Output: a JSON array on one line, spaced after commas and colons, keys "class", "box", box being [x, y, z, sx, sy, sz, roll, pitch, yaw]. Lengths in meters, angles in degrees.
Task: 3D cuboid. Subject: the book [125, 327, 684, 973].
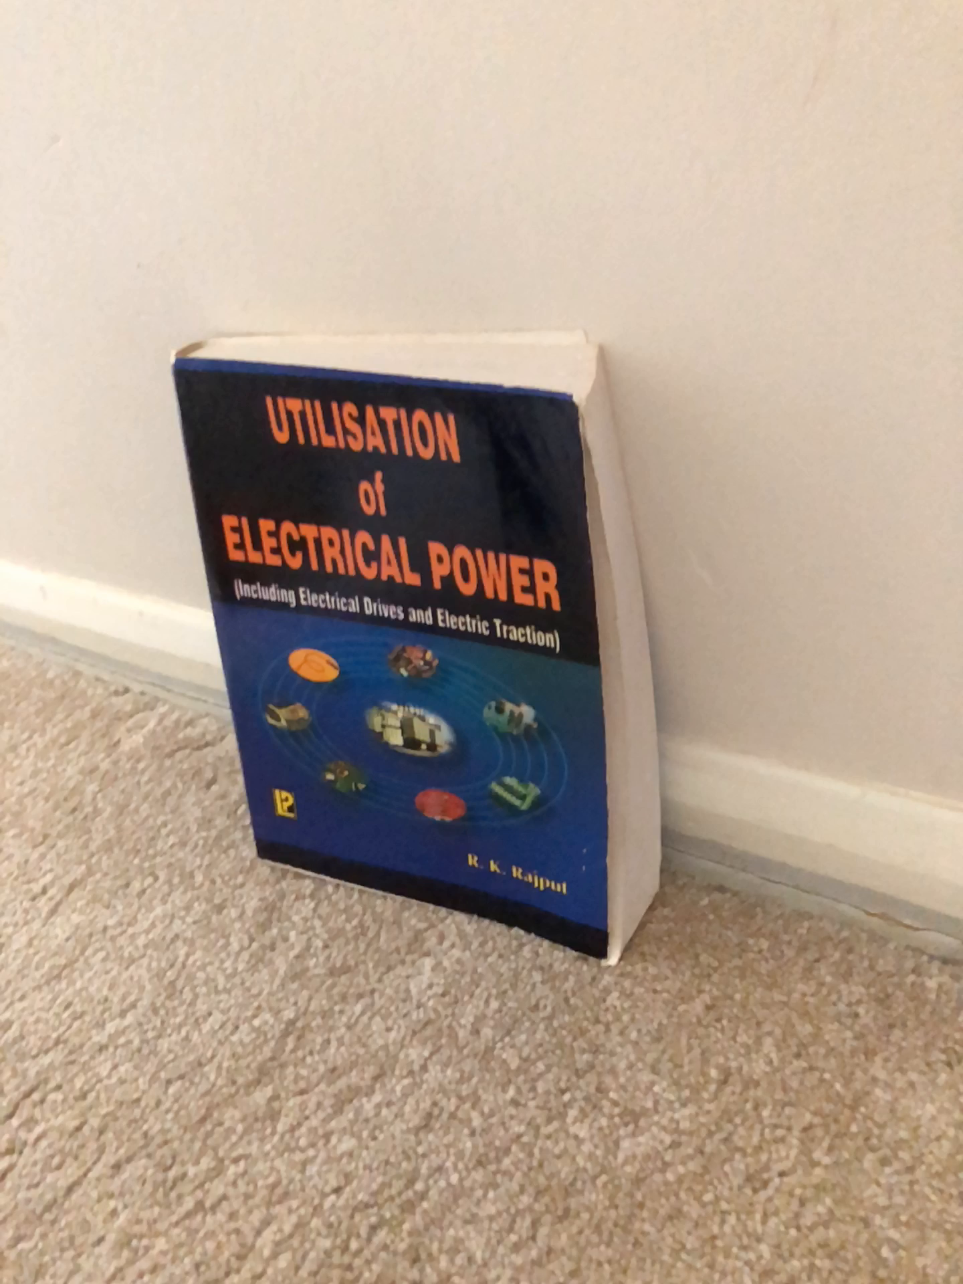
[{"class": "book", "box": [-0.024, 0.000, 0.418, 0.190, 0.229, 0.050, 8, 30, 29]}]
